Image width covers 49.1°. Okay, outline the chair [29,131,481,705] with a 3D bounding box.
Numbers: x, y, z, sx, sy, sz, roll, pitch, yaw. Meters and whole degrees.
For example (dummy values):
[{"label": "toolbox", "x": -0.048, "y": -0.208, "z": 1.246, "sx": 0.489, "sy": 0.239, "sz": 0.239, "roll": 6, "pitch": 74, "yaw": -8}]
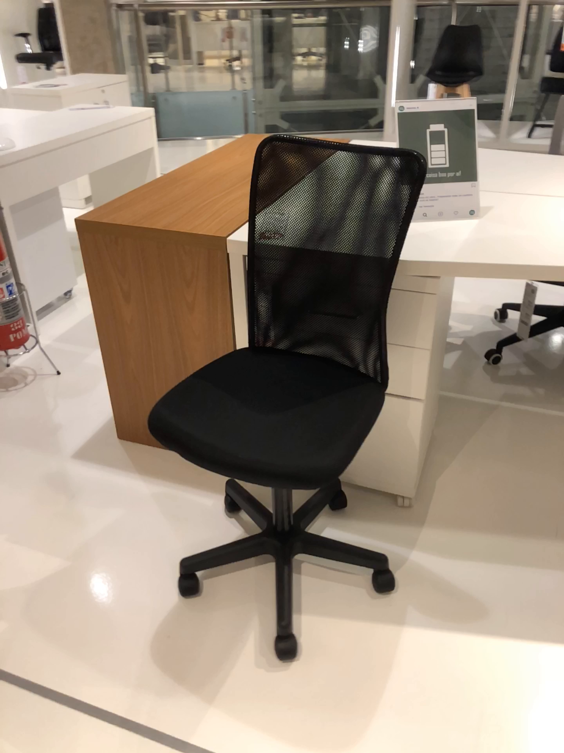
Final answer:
[{"label": "chair", "x": -0.004, "y": 0.045, "z": 1.300, "sx": 0.561, "sy": 0.923, "sz": 0.574, "roll": 16, "pitch": 35, "yaw": 26}]
